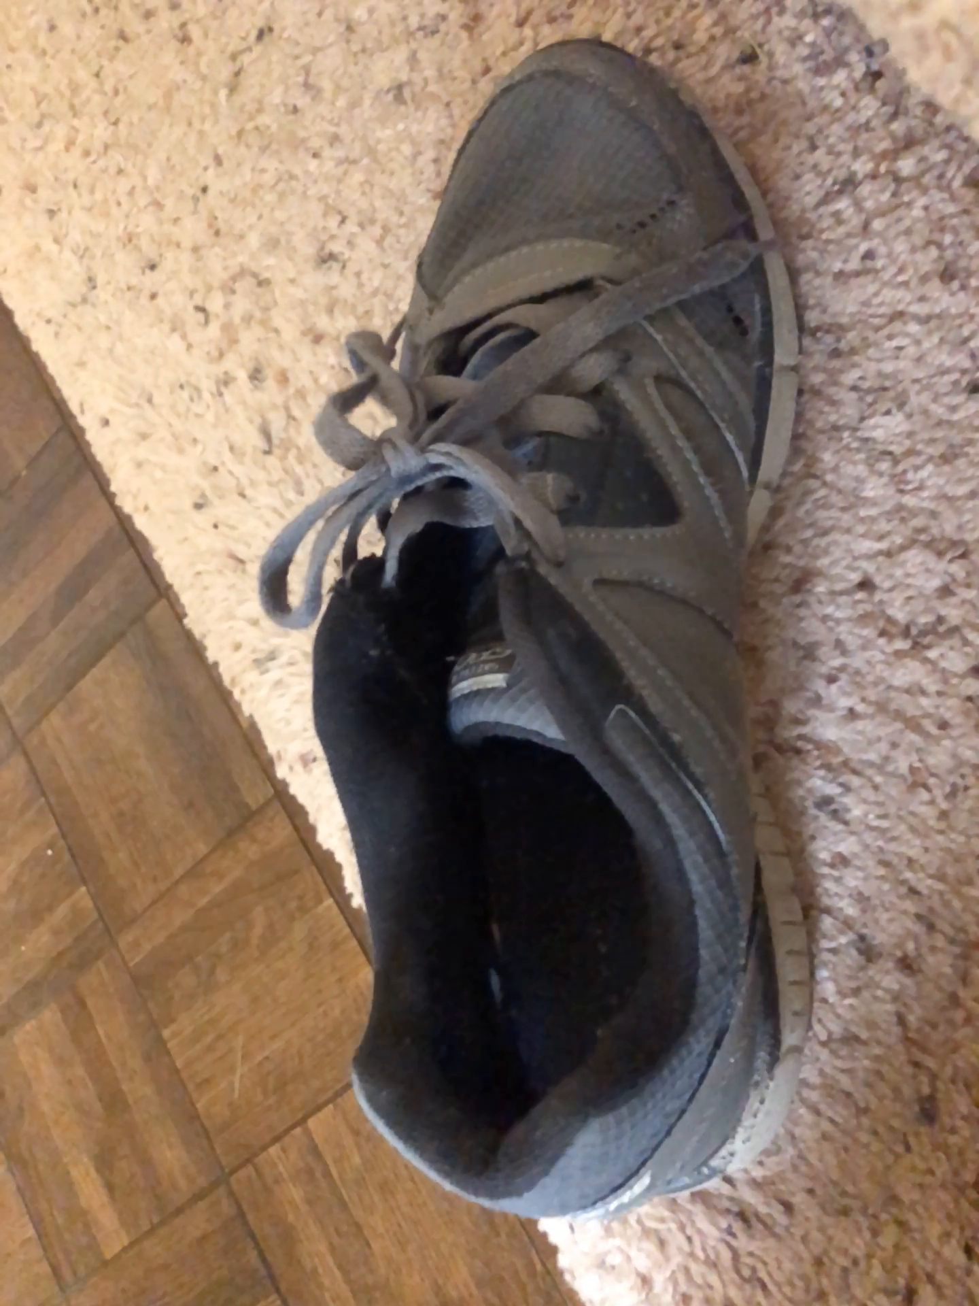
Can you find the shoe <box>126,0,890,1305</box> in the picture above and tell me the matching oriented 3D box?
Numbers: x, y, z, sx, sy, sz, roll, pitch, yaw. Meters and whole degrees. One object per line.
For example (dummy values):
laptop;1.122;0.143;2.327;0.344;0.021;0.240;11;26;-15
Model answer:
shoe;0.010;-0.017;0.254;0.110;0.140;0.300;-7;82;27
